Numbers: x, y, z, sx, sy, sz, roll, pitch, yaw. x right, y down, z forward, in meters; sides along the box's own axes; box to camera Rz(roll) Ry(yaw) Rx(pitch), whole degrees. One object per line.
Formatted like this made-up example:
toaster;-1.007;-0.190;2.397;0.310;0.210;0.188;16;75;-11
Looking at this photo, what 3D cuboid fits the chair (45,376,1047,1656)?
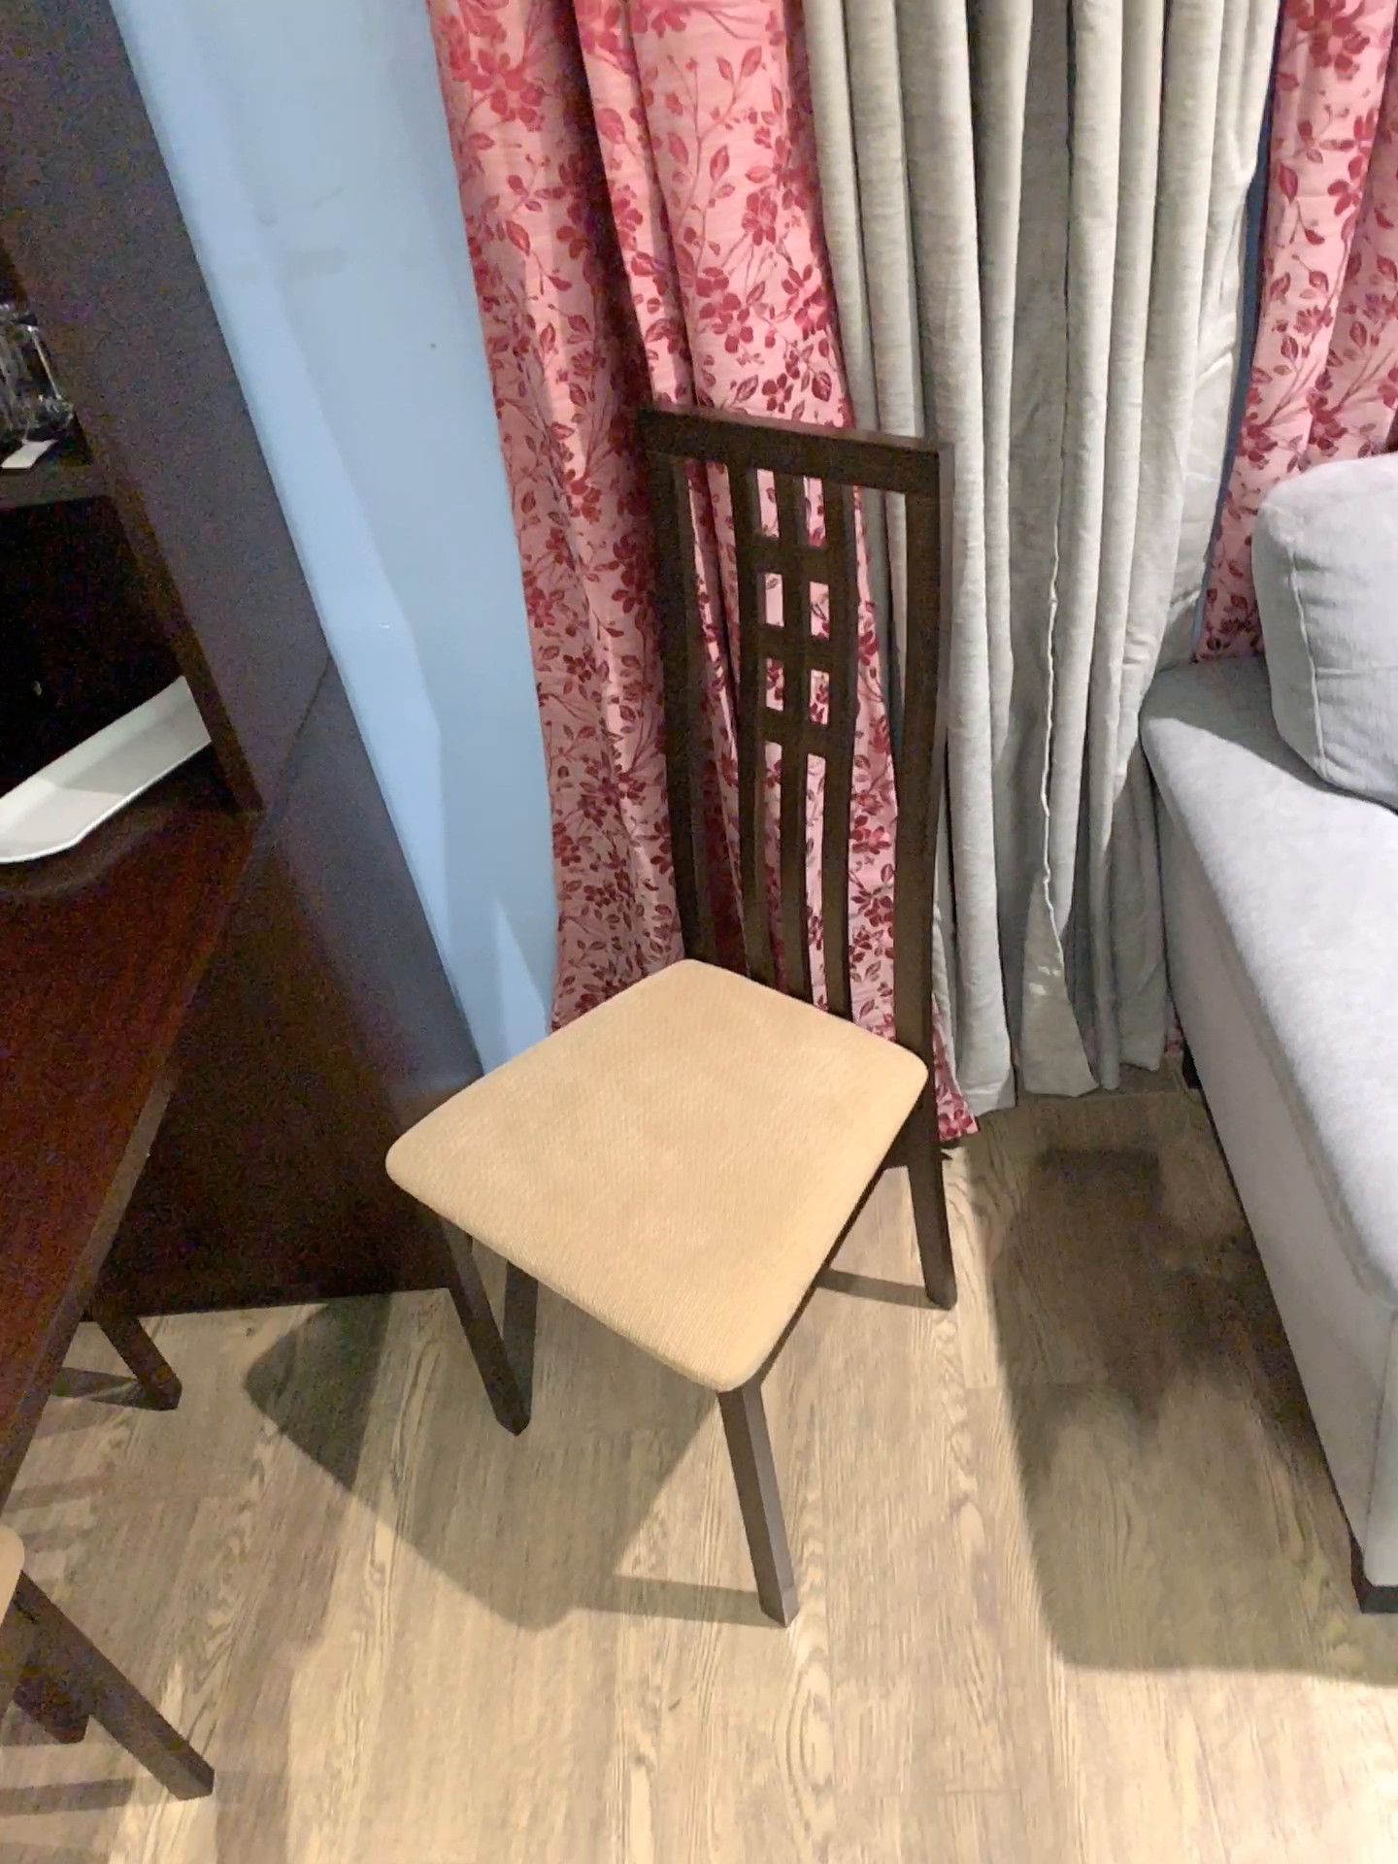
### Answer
chair;-0.040;0.085;1.329;0.531;0.976;0.511;21;48;33
